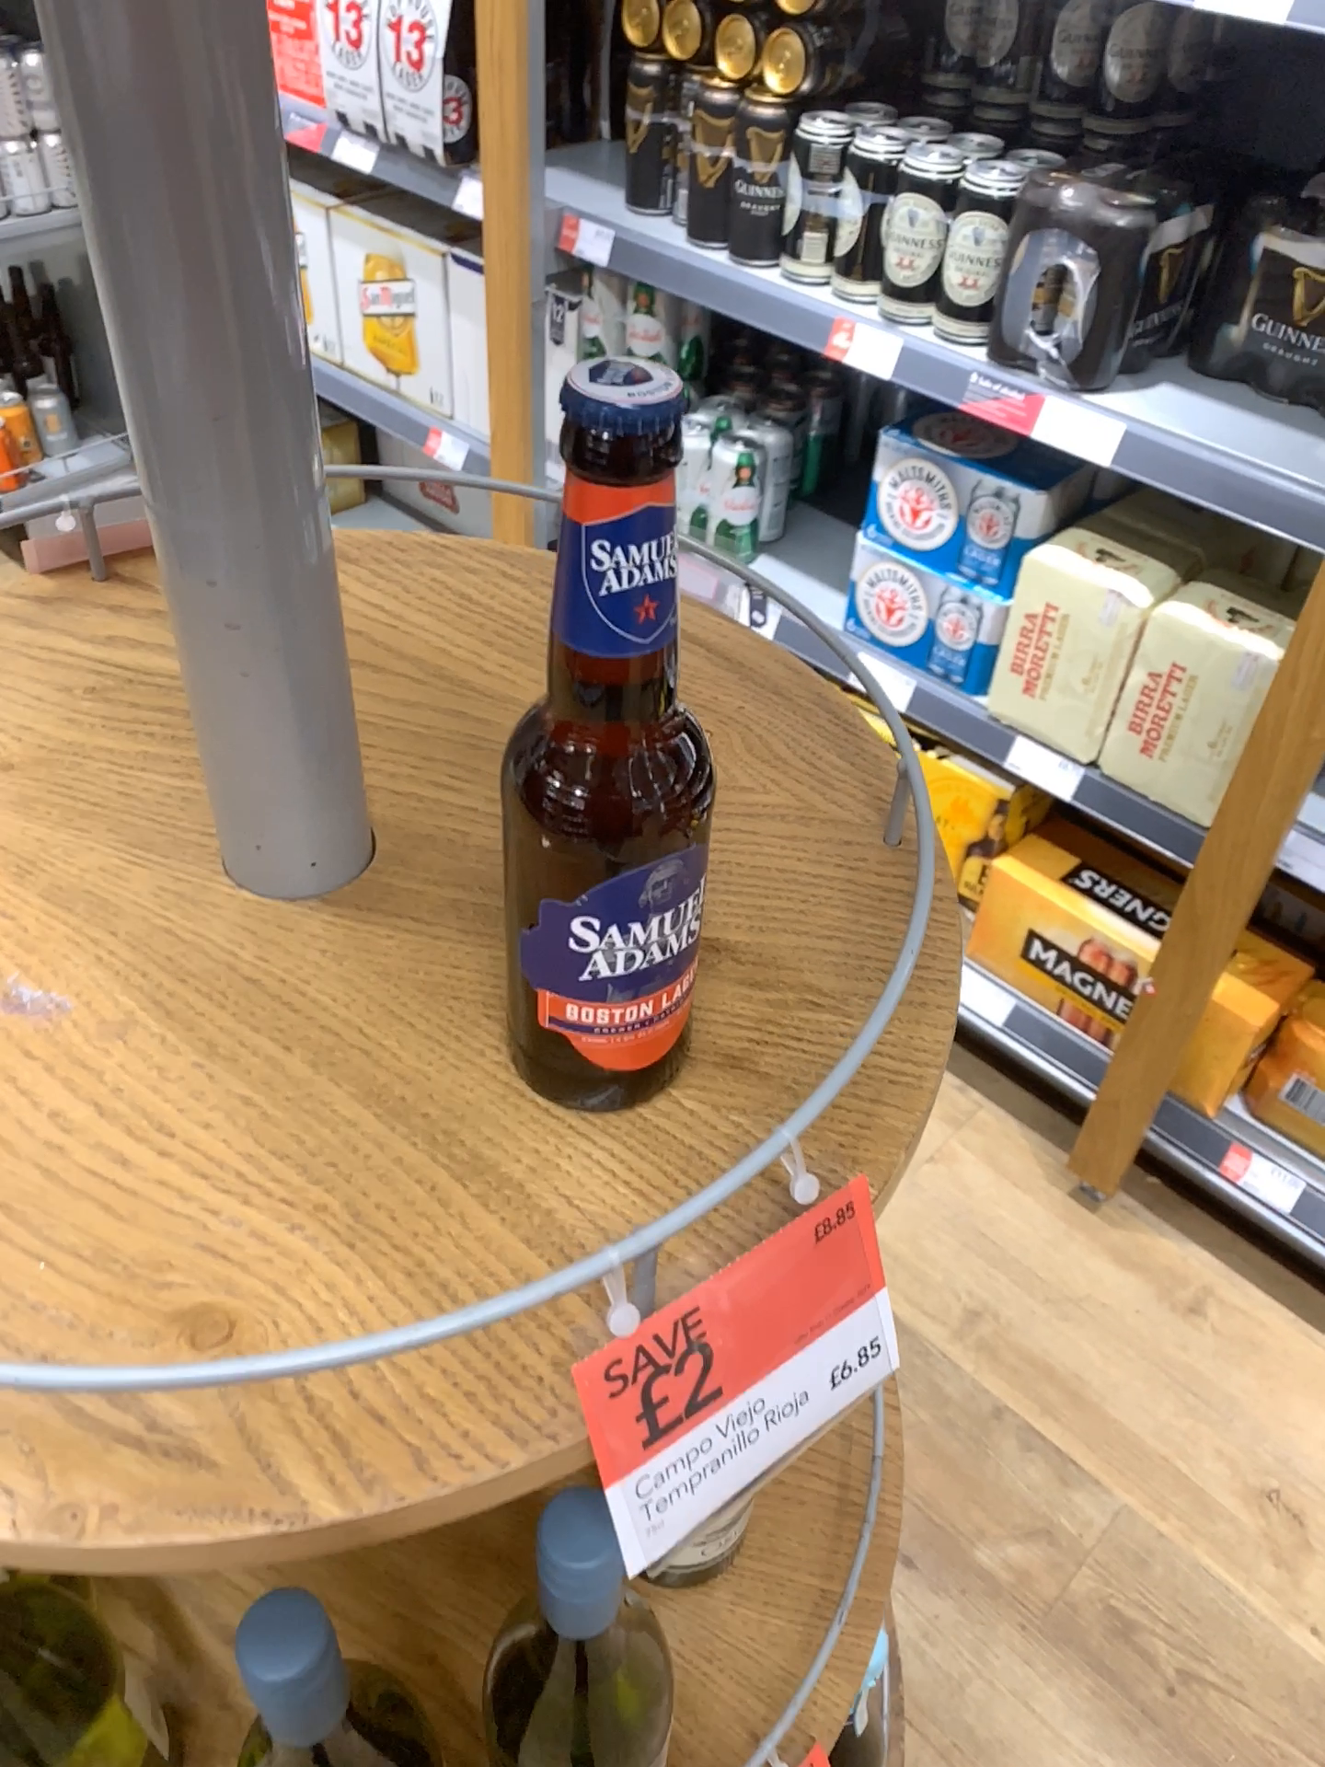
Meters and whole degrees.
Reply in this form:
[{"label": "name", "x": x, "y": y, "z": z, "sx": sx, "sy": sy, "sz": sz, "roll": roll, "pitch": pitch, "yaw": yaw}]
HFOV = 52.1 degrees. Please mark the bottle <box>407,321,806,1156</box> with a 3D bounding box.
[{"label": "bottle", "x": -0.018, "y": -0.027, "z": 0.360, "sx": 0.063, "sy": 0.211, "sz": 0.061, "roll": 2, "pitch": 42, "yaw": -2}]
